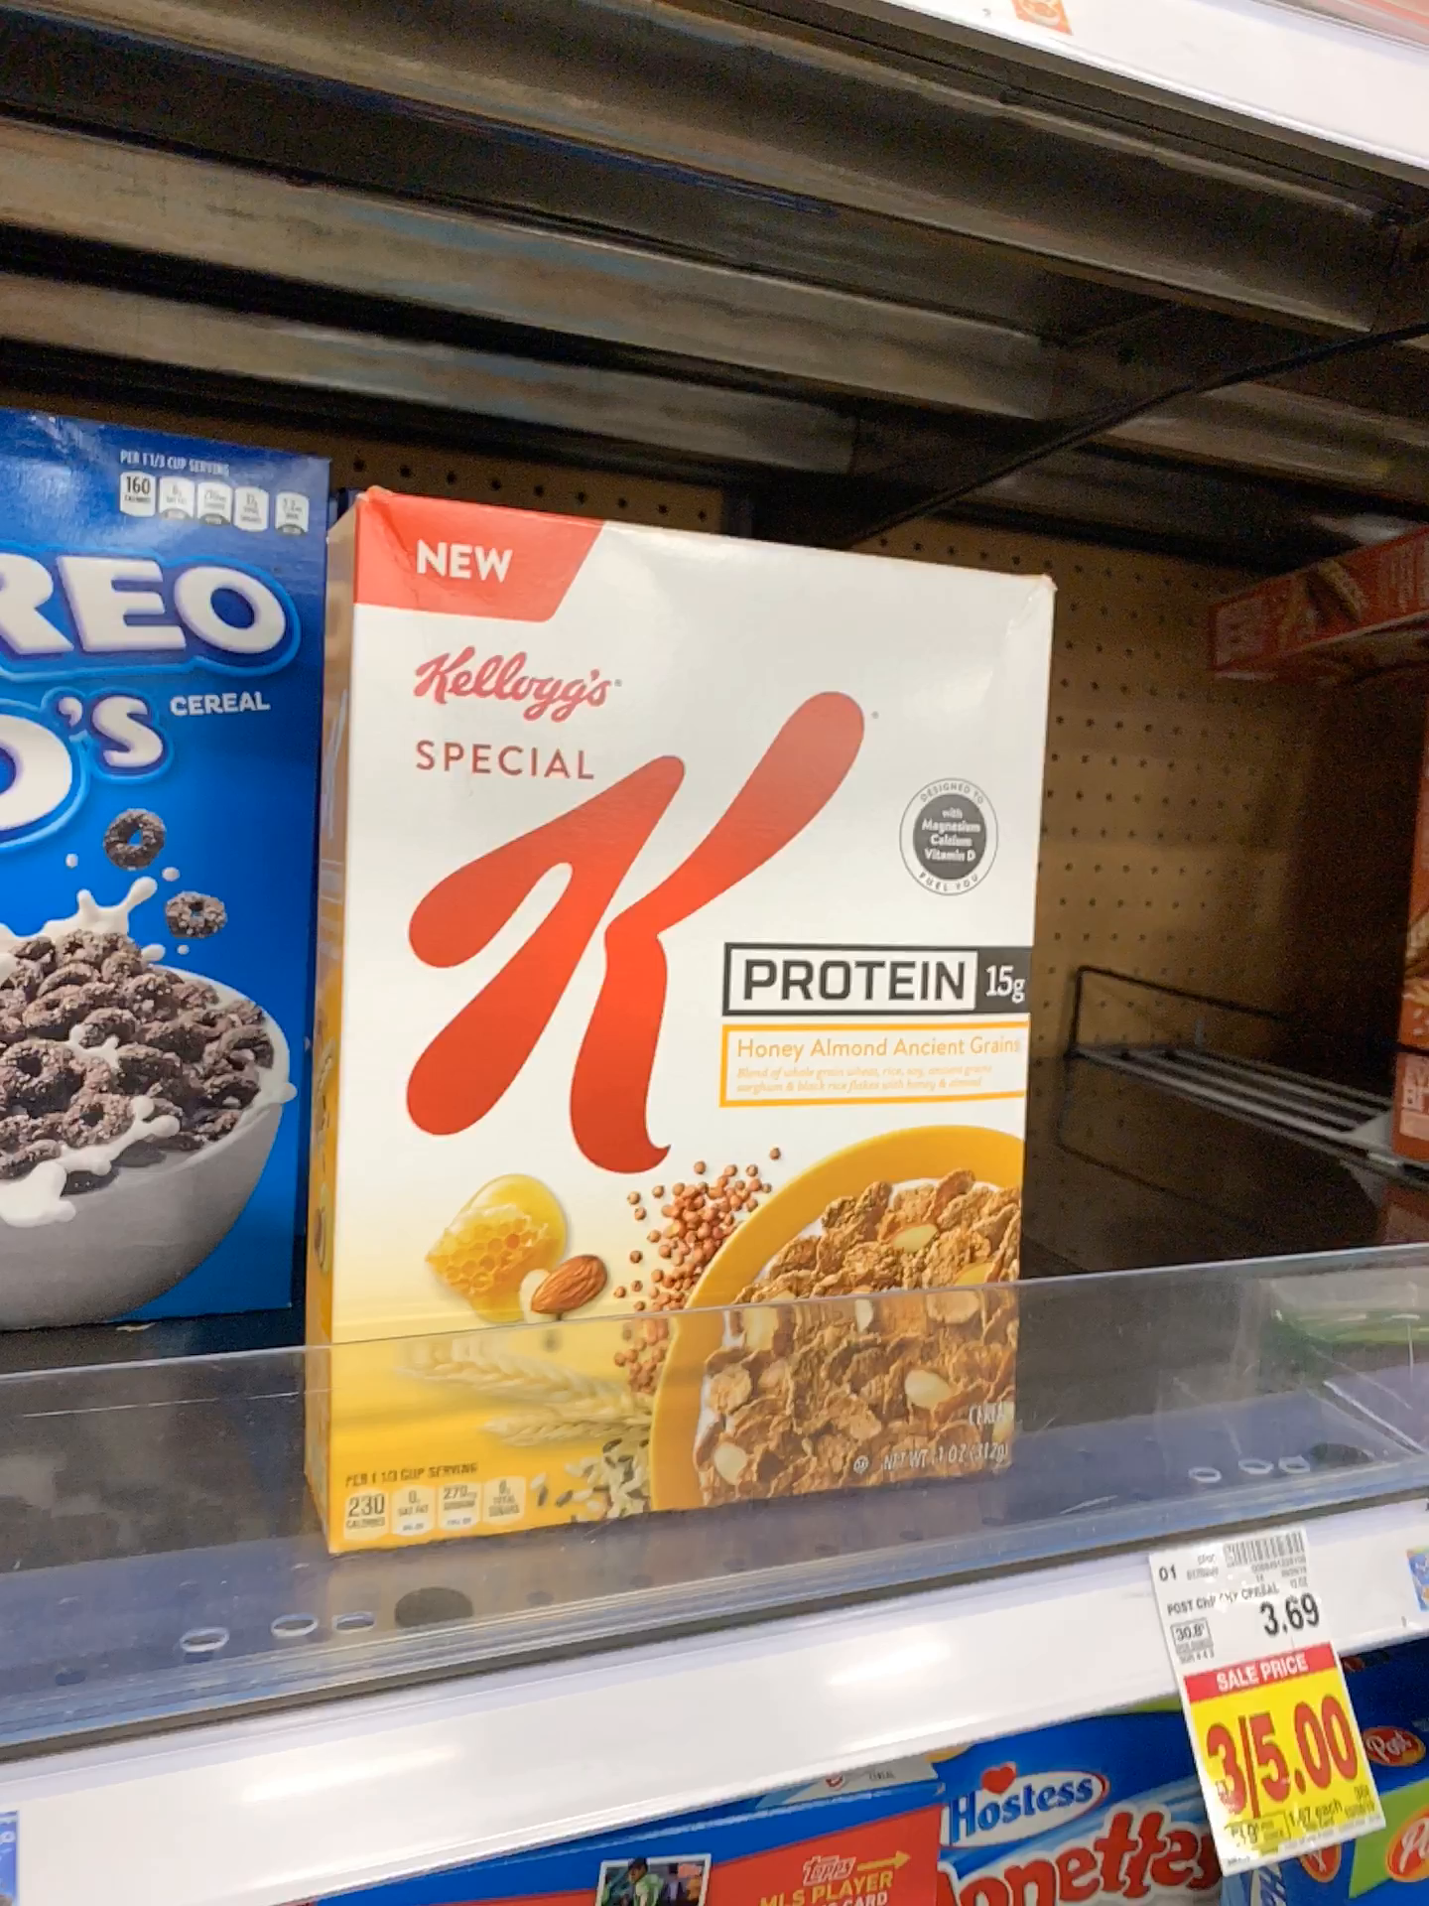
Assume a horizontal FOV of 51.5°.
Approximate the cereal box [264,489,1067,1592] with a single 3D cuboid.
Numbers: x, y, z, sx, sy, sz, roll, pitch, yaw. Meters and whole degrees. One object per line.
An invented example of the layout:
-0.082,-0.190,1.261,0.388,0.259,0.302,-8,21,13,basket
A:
-0.010,0.022,0.389,0.200,0.250,0.040,1,4,-21,cereal box
